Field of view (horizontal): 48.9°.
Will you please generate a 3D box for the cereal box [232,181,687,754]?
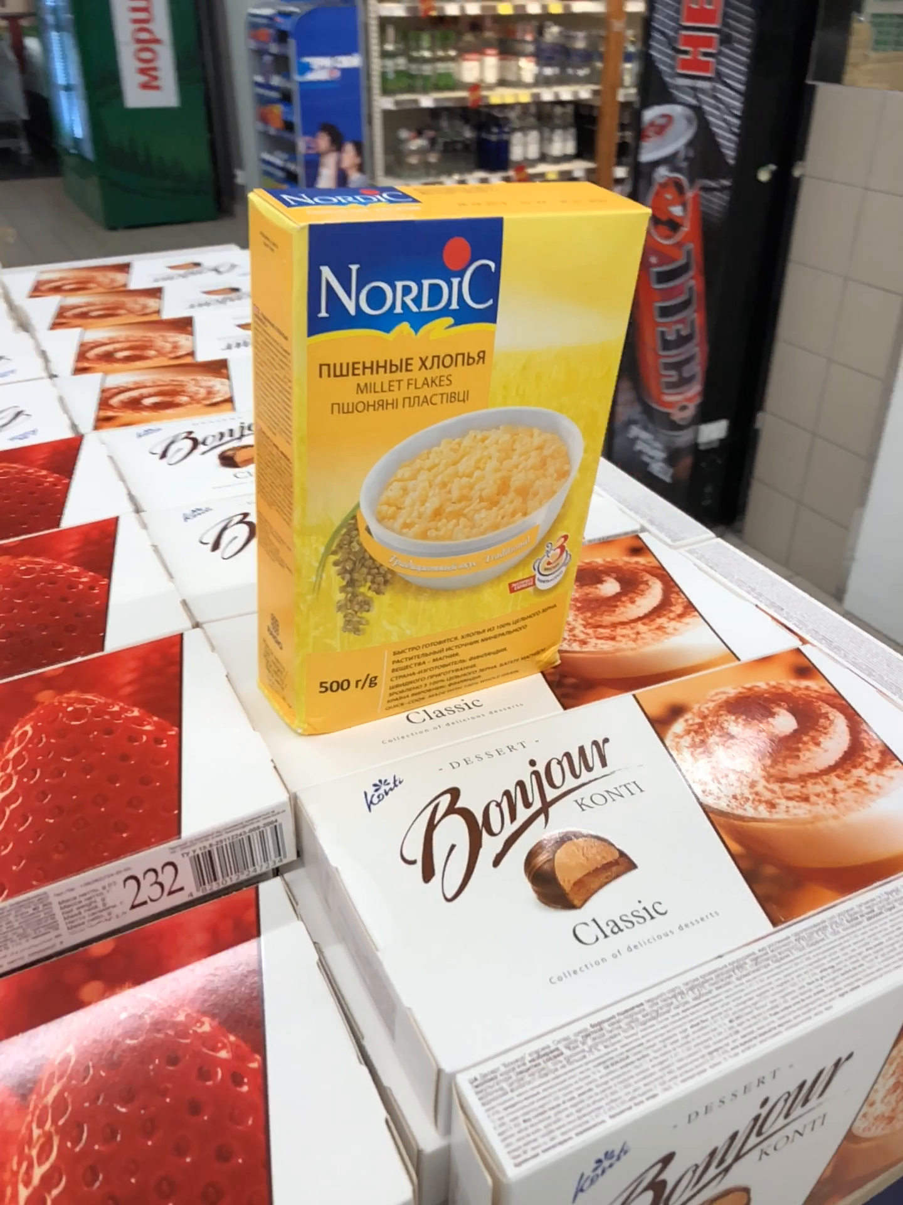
[{"bbox_3d":[-0.004,-0.054,0.419,0.160,0.218,0.050,-13,39,-27],"label":"cereal box"}]
